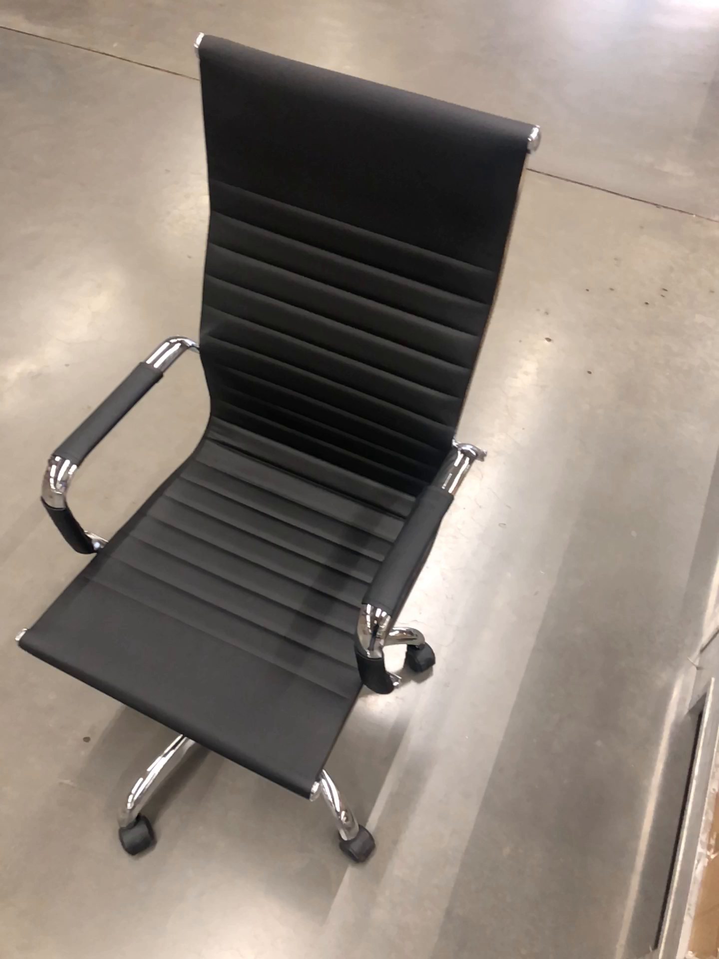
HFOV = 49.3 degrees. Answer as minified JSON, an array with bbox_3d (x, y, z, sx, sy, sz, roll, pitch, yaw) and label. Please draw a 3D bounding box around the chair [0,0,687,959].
[{"bbox_3d":[-0.152,0.100,1.158,0.670,1.094,0.744,25,54,13],"label":"chair"}]
